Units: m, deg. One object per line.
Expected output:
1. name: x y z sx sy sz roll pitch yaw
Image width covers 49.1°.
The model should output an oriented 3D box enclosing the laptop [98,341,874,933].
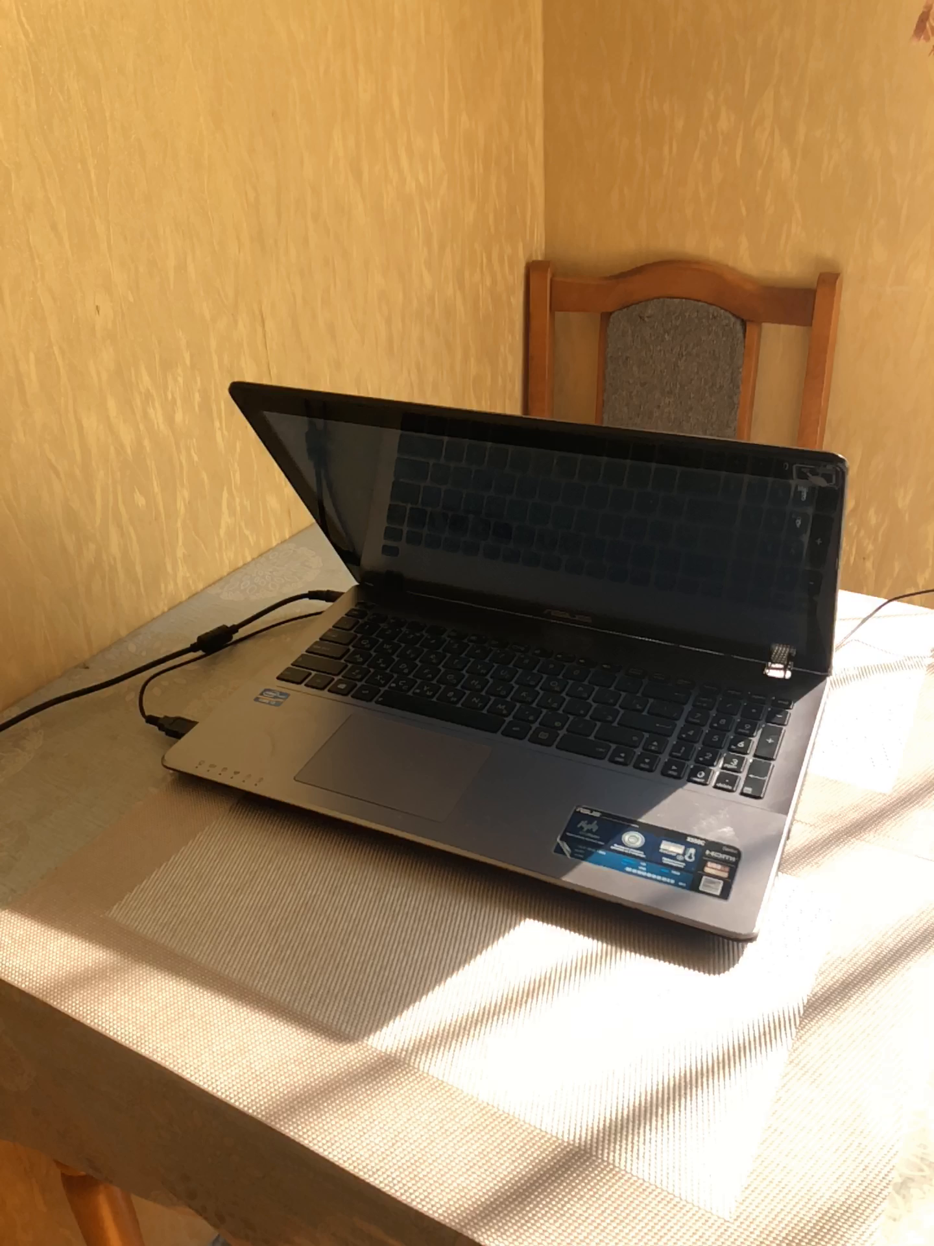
1. laptop: 0.024 -0.024 0.618 0.364 0.197 0.241 11 34 22
